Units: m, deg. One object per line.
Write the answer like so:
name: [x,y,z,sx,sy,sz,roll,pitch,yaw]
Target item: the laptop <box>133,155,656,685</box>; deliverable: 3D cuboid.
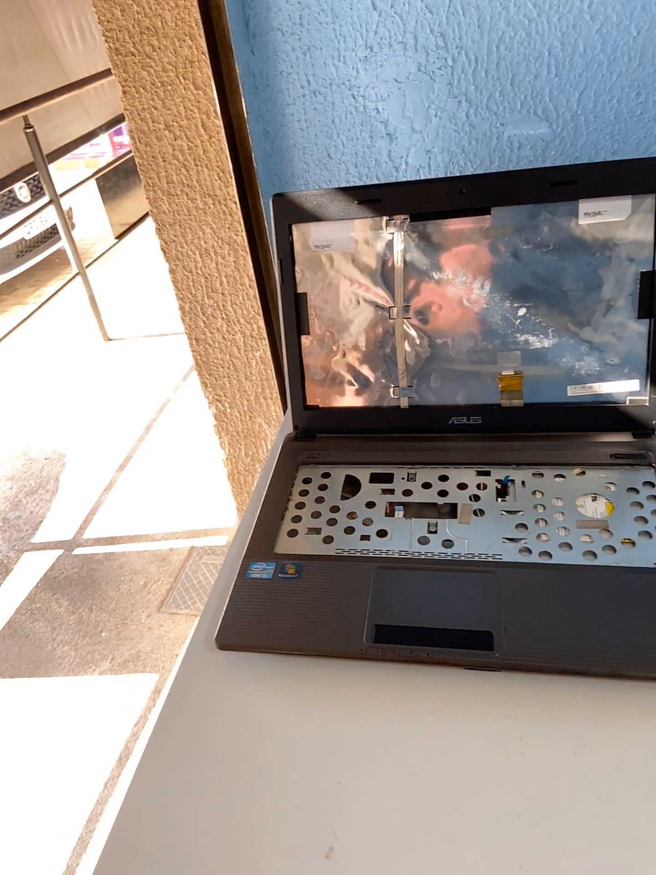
laptop: [0.101,-0.039,0.494,0.336,0.202,0.329,0,37,12]
